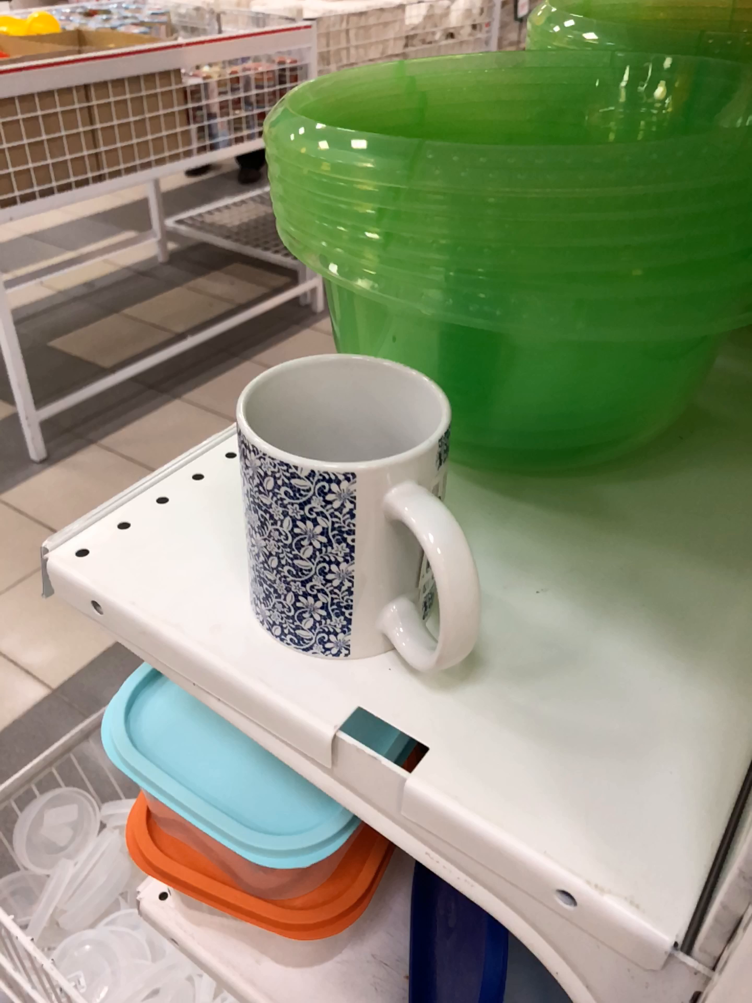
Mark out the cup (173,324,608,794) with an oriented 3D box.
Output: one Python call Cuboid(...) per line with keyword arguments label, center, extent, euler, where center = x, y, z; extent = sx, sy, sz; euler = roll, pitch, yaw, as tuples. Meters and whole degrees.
Cuboid(label="cup", center=(-0.003, 0.011, 0.325), extent=(0.098, 0.098, 0.138), euler=(-19, 40, -25))
